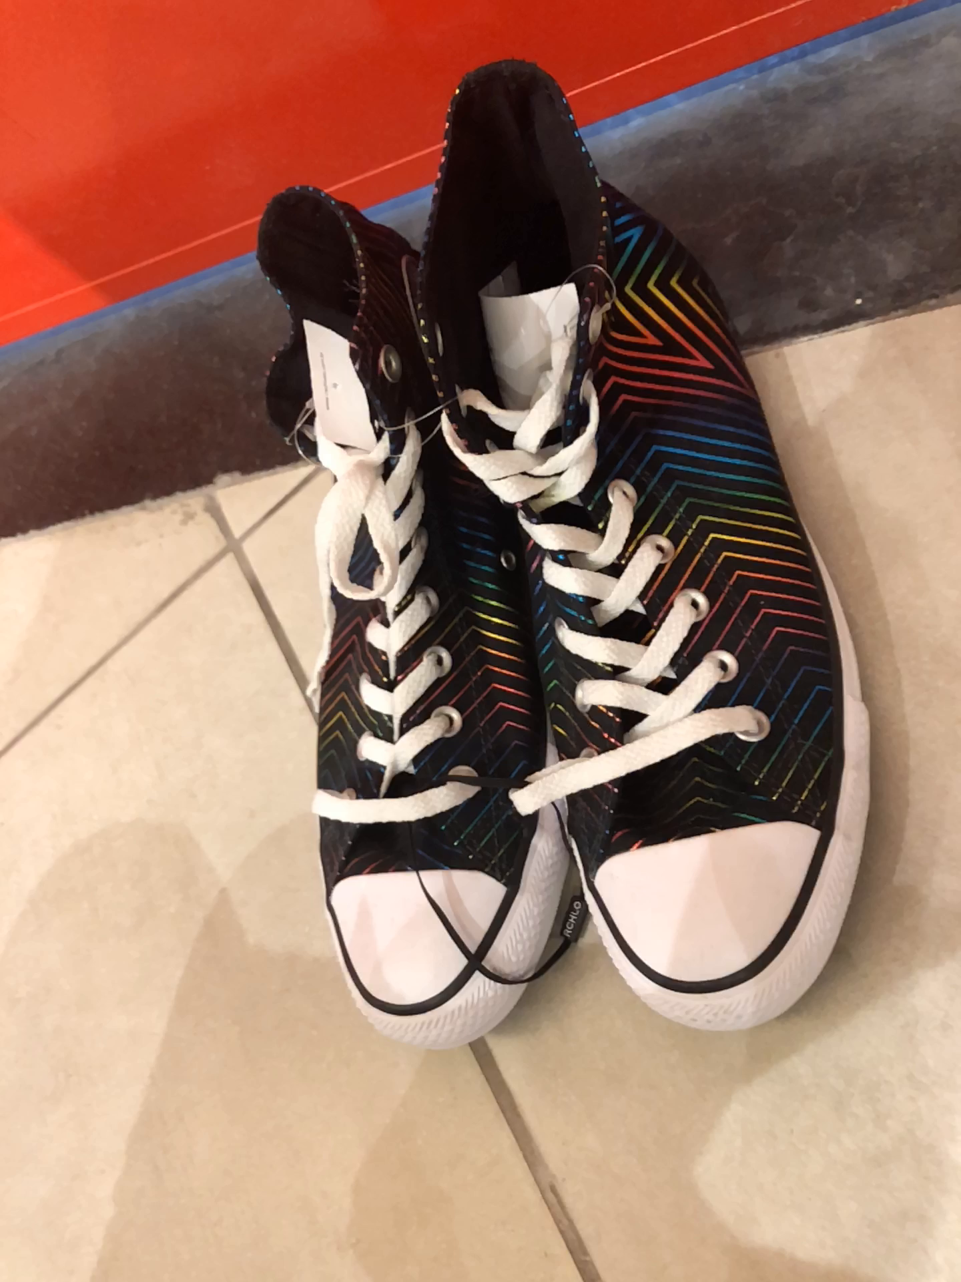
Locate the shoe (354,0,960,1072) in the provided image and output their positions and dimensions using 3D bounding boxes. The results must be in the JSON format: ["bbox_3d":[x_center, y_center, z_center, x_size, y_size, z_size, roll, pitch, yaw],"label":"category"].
[{"bbox_3d":[0.051,-0.038,0.339,0.110,0.140,0.311,-15,67,25],"label":"shoe"}]

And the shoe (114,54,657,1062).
[{"bbox_3d":[-0.027,-0.019,0.384,0.110,0.140,0.311,-12,68,26],"label":"shoe"}]
